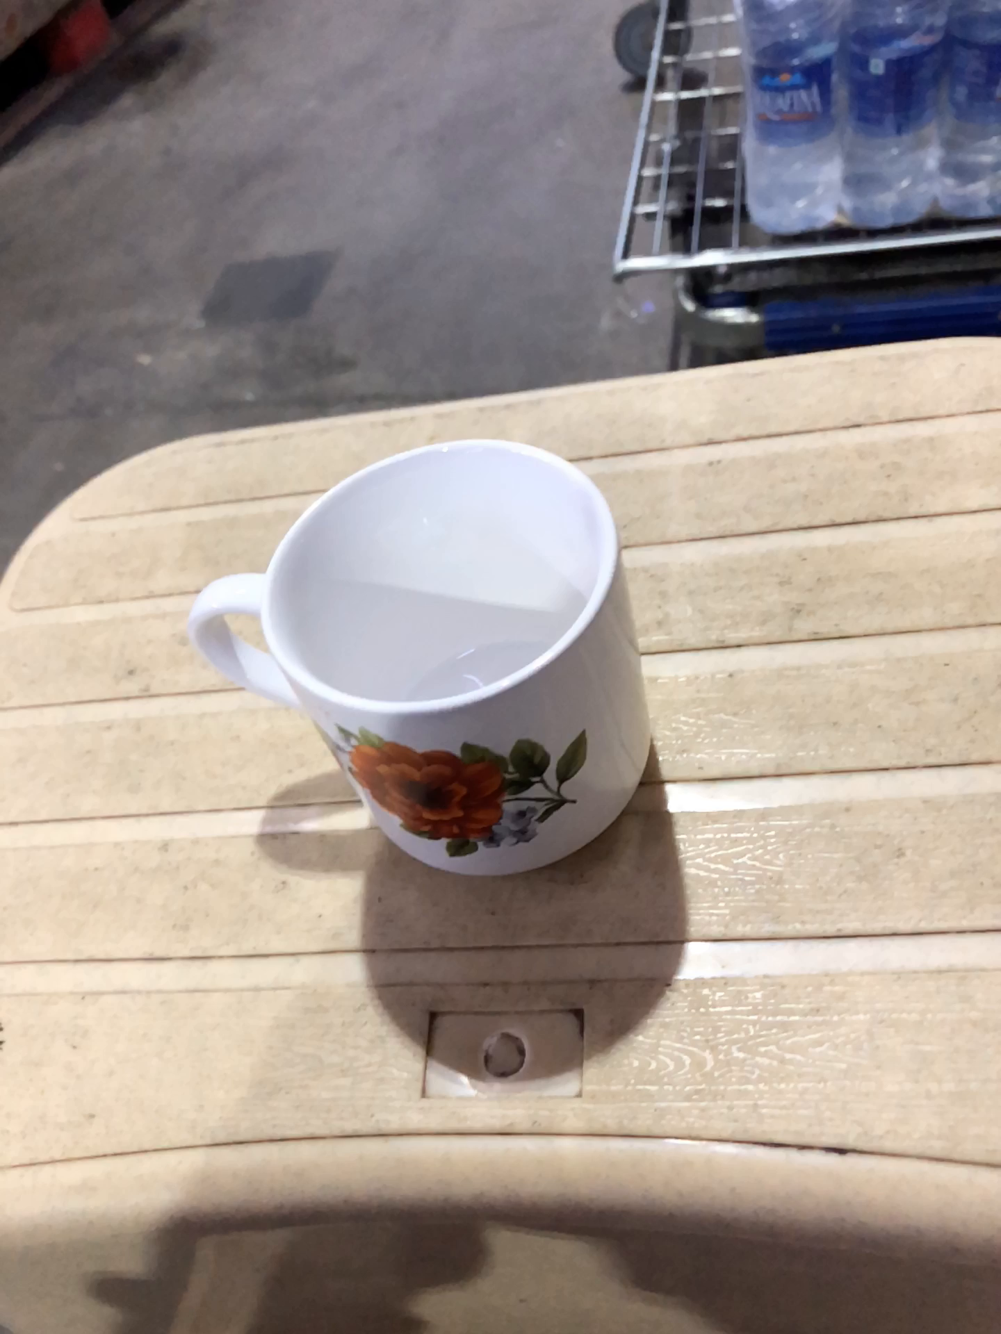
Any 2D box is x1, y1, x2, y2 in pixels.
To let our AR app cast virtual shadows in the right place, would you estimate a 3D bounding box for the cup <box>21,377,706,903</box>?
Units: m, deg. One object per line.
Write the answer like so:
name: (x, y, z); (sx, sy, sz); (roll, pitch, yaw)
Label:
cup: (-0.017, -0.005, 0.210); (0.100, 0.060, 0.070); (1, 51, 16)
